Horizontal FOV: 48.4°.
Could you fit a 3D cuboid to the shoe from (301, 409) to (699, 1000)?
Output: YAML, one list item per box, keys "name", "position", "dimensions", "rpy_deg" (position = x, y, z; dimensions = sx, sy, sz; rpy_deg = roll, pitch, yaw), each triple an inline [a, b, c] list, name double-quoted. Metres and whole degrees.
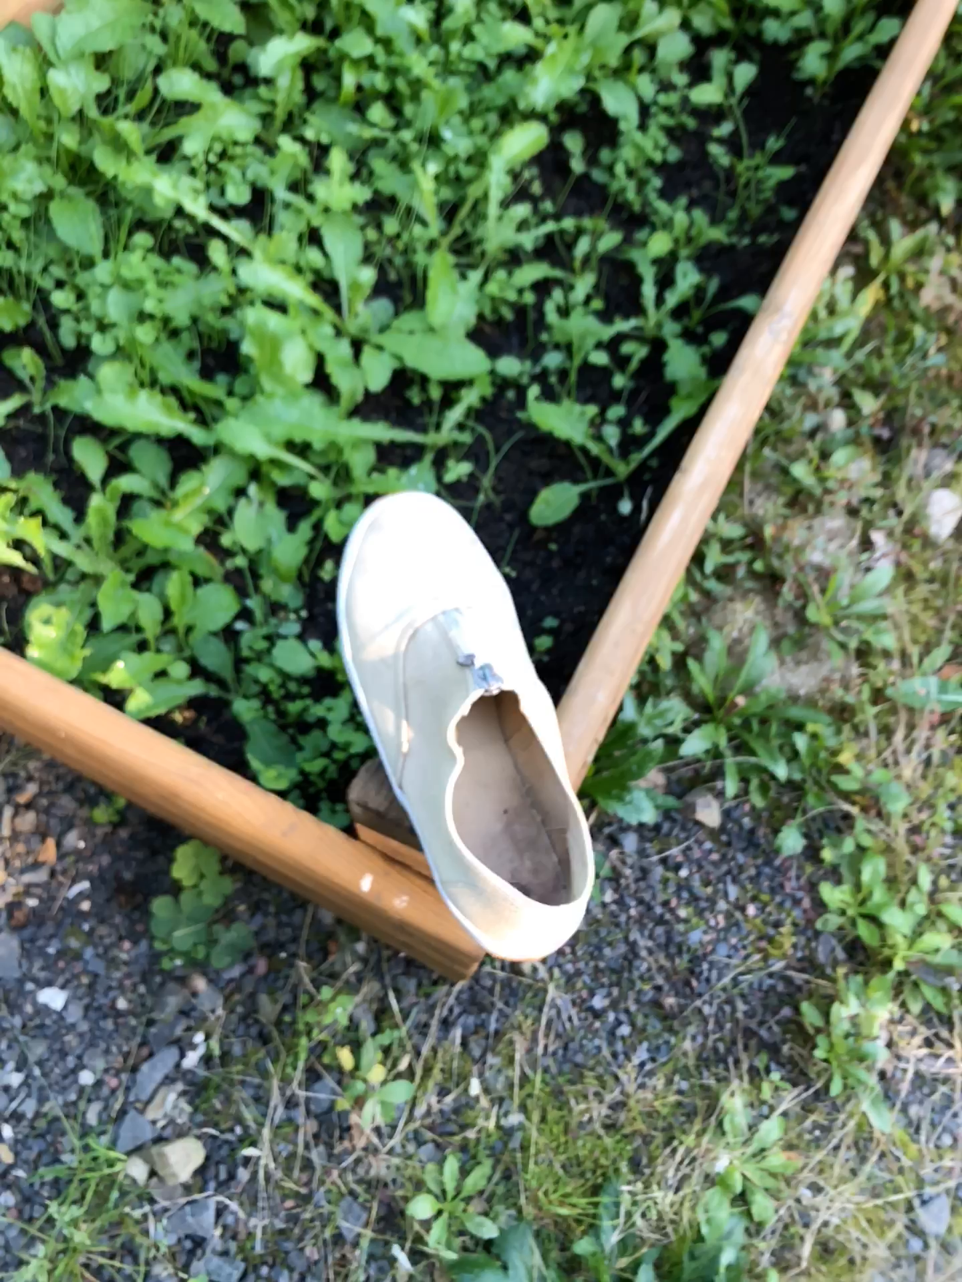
- name: "shoe"
  position: [0.001, 0.027, 0.524]
  dimensions: [0.110, 0.070, 0.260]
  rpy_deg: [-15, 73, -10]
